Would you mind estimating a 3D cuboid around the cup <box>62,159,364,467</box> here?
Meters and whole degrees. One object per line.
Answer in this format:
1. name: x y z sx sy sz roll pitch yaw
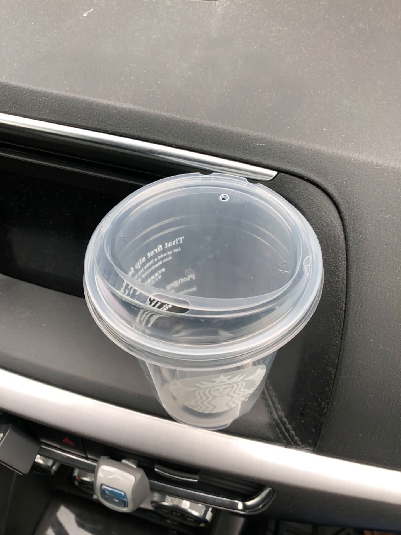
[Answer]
1. cup: 0.000 0.030 0.205 0.088 0.125 0.082 0 57 1
